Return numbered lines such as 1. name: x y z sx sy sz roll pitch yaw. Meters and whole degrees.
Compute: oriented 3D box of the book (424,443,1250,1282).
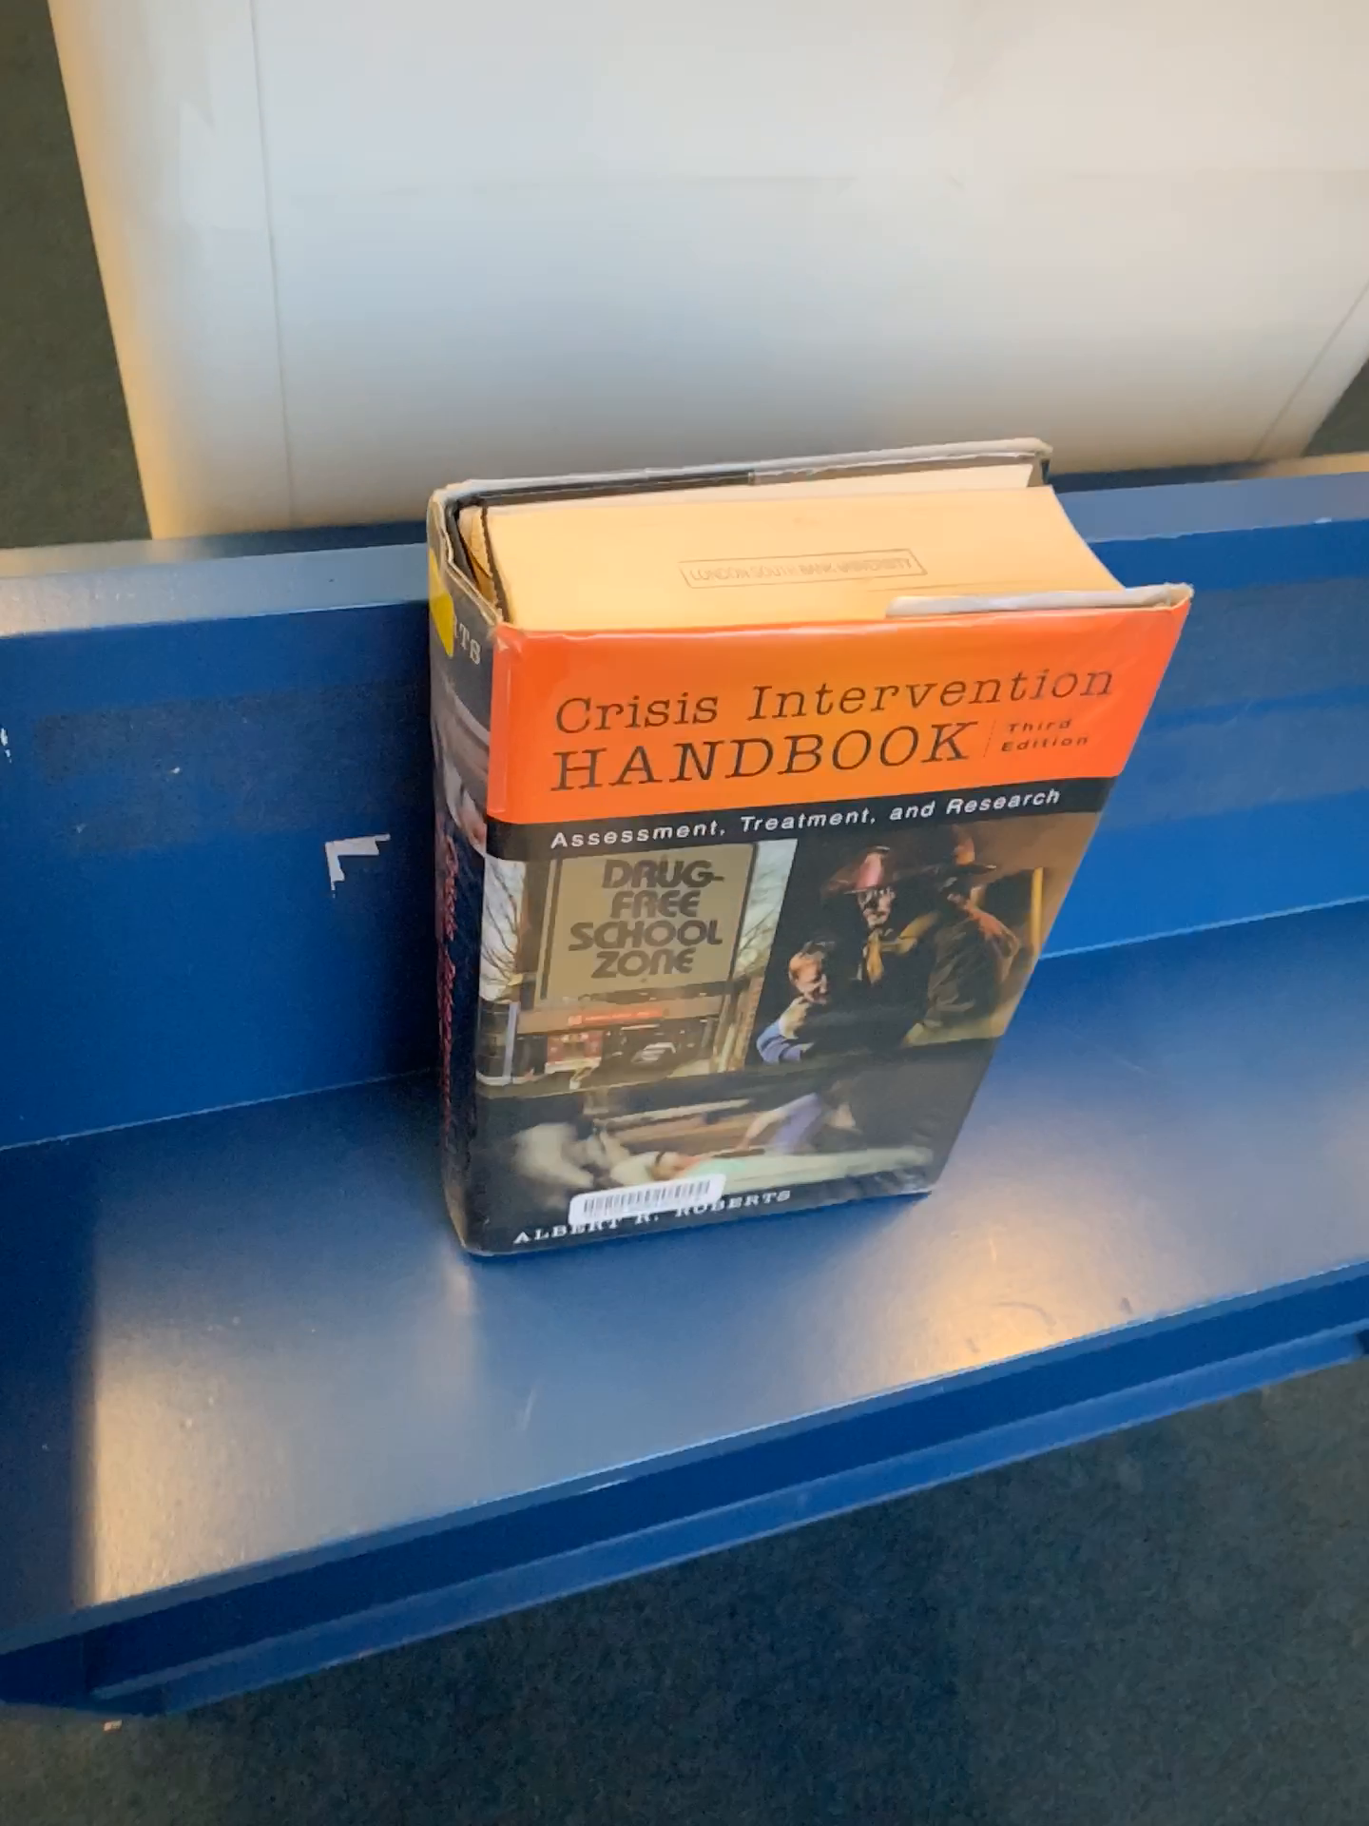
1. book: 0.021 -0.005 0.413 0.180 0.238 0.080 -6 46 -15
